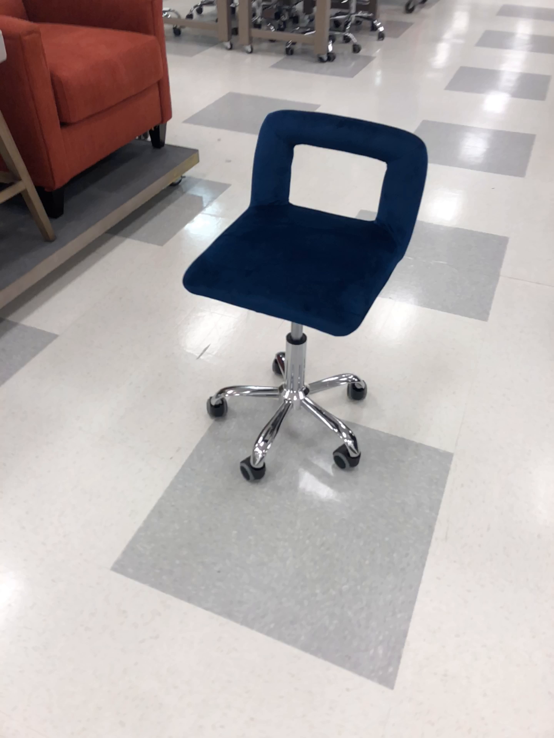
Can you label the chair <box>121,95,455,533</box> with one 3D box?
[{"bbox_3d":[0.050,-0.134,1.349,0.447,0.719,0.532,16,42,18],"label":"chair"}]
